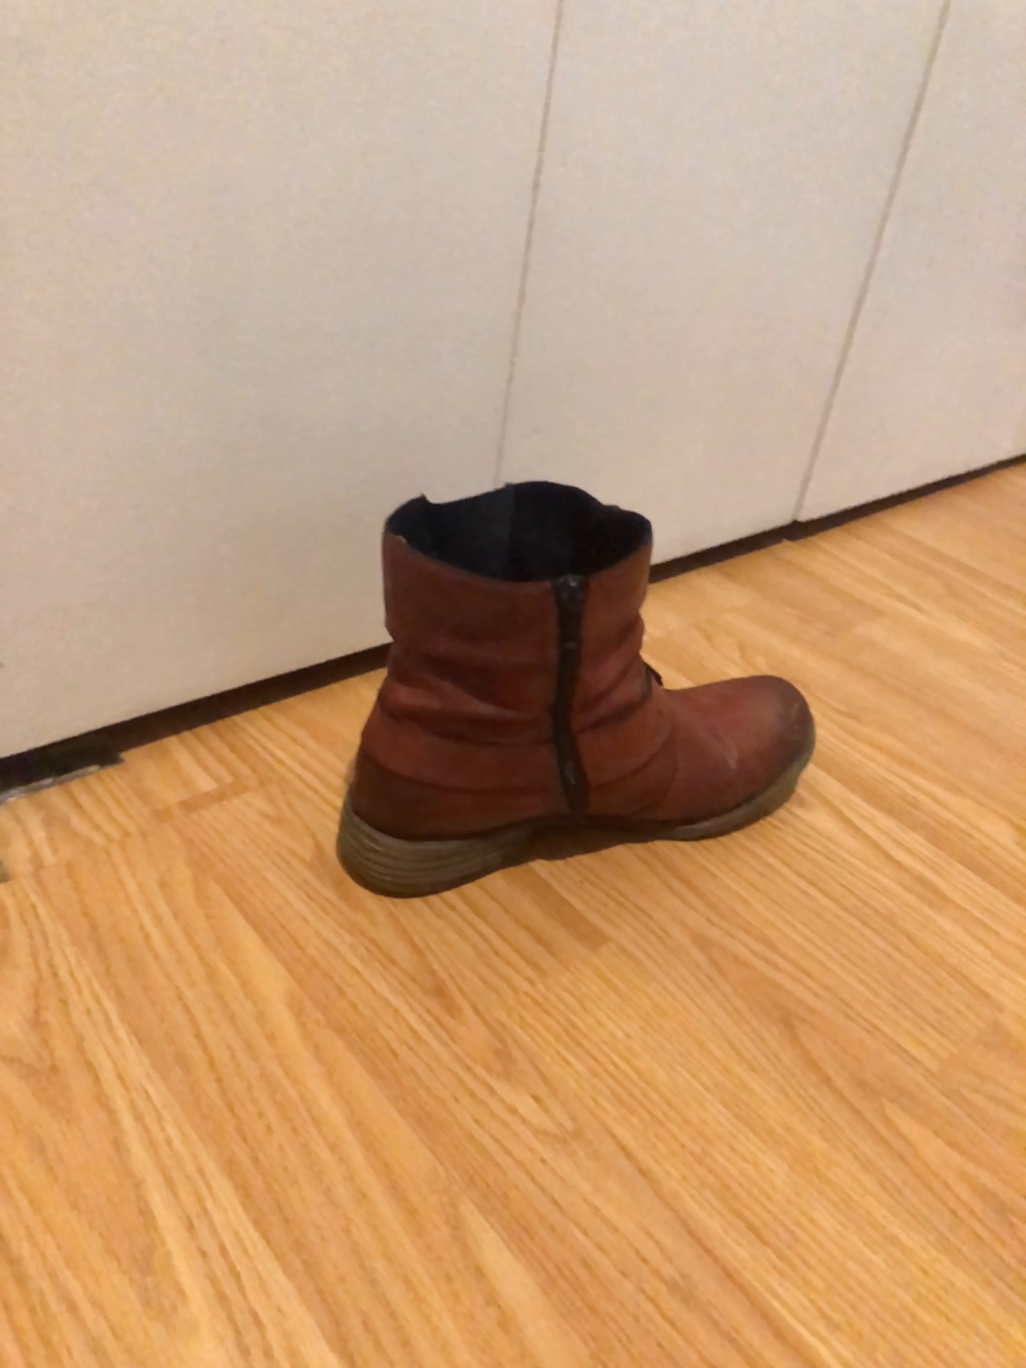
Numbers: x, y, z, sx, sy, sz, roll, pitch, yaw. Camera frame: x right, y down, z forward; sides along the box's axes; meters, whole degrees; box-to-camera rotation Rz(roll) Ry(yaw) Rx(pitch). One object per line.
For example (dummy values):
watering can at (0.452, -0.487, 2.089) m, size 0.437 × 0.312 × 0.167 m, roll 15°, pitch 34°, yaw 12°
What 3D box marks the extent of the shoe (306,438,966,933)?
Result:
shoe at (0.051, -0.010, 0.535) m, size 0.270 × 0.169 × 0.100 m, roll -9°, pitch 37°, yaw -26°
